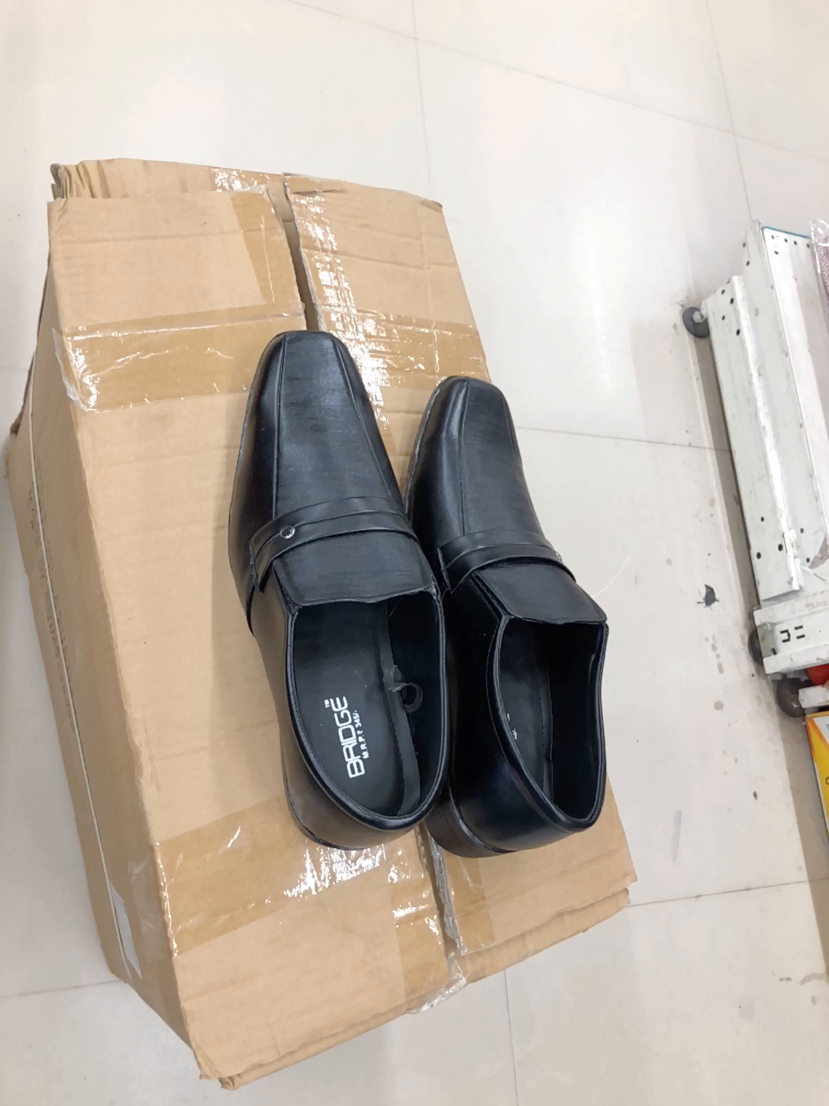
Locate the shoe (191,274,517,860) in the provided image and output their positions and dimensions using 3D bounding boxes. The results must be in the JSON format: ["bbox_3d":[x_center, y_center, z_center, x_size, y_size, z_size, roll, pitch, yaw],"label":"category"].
[{"bbox_3d":[-0.046,0.011,0.513,0.100,0.129,0.290,-4,75,-26],"label":"shoe"}]

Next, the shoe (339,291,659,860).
[{"bbox_3d":[0.041,0.020,0.561,0.100,0.129,0.310,6,71,-36],"label":"shoe"}]
